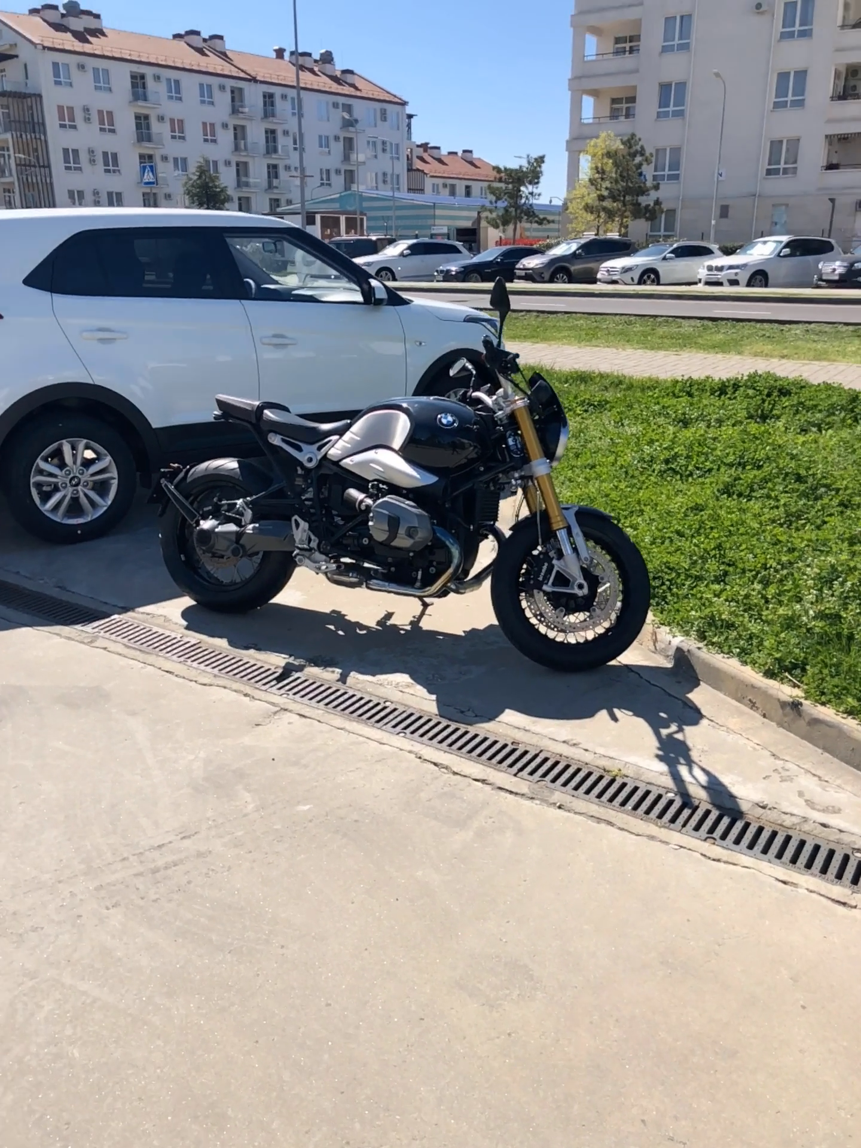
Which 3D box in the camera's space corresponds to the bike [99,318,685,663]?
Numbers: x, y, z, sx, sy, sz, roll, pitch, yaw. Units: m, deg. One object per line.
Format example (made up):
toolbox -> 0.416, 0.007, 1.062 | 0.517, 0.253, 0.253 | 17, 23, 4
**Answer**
bike -> -0.109, -0.382, 3.426 | 1.832, 1.013, 0.779 | 5, 18, 17
